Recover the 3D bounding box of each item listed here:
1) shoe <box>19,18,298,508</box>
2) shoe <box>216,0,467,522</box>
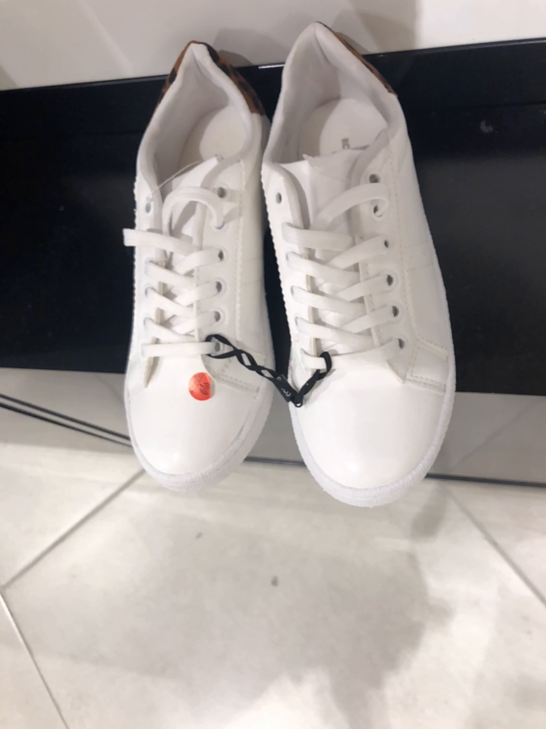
[{"bbox_3d":[-0.047,-0.041,0.318,0.090,0.100,0.220,0,78,16],"label":"shoe"},{"bbox_3d":[0.034,-0.040,0.298,0.090,0.100,0.220,-6,76,14],"label":"shoe"}]
